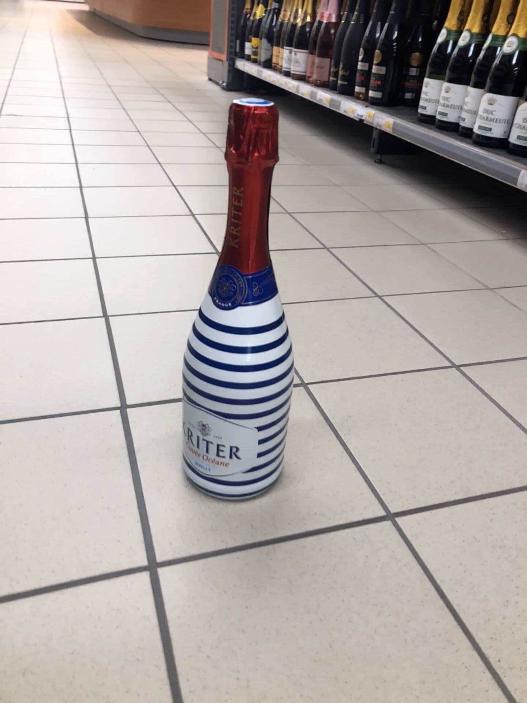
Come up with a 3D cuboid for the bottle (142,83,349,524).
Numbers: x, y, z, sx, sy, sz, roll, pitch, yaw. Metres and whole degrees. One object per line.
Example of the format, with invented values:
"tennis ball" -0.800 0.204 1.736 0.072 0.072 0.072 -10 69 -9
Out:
"bottle" -0.022 -0.031 0.442 0.100 0.308 0.091 20 31 25
